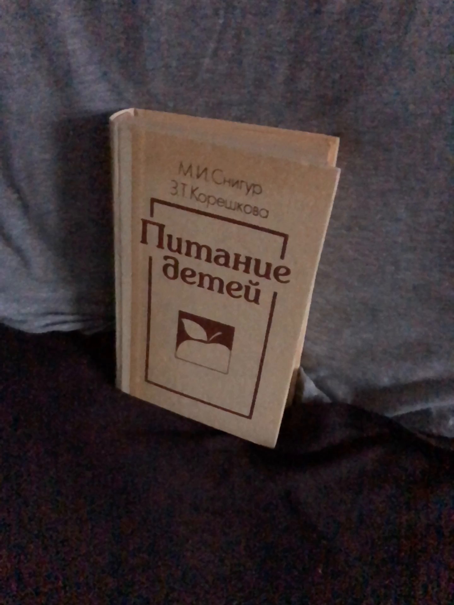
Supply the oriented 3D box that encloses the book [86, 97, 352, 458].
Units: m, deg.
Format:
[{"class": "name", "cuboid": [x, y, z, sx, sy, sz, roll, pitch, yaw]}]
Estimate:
[{"class": "book", "cuboid": [-0.013, -0.009, 0.339, 0.144, 0.219, 0.041, 16, 35, 17]}]
